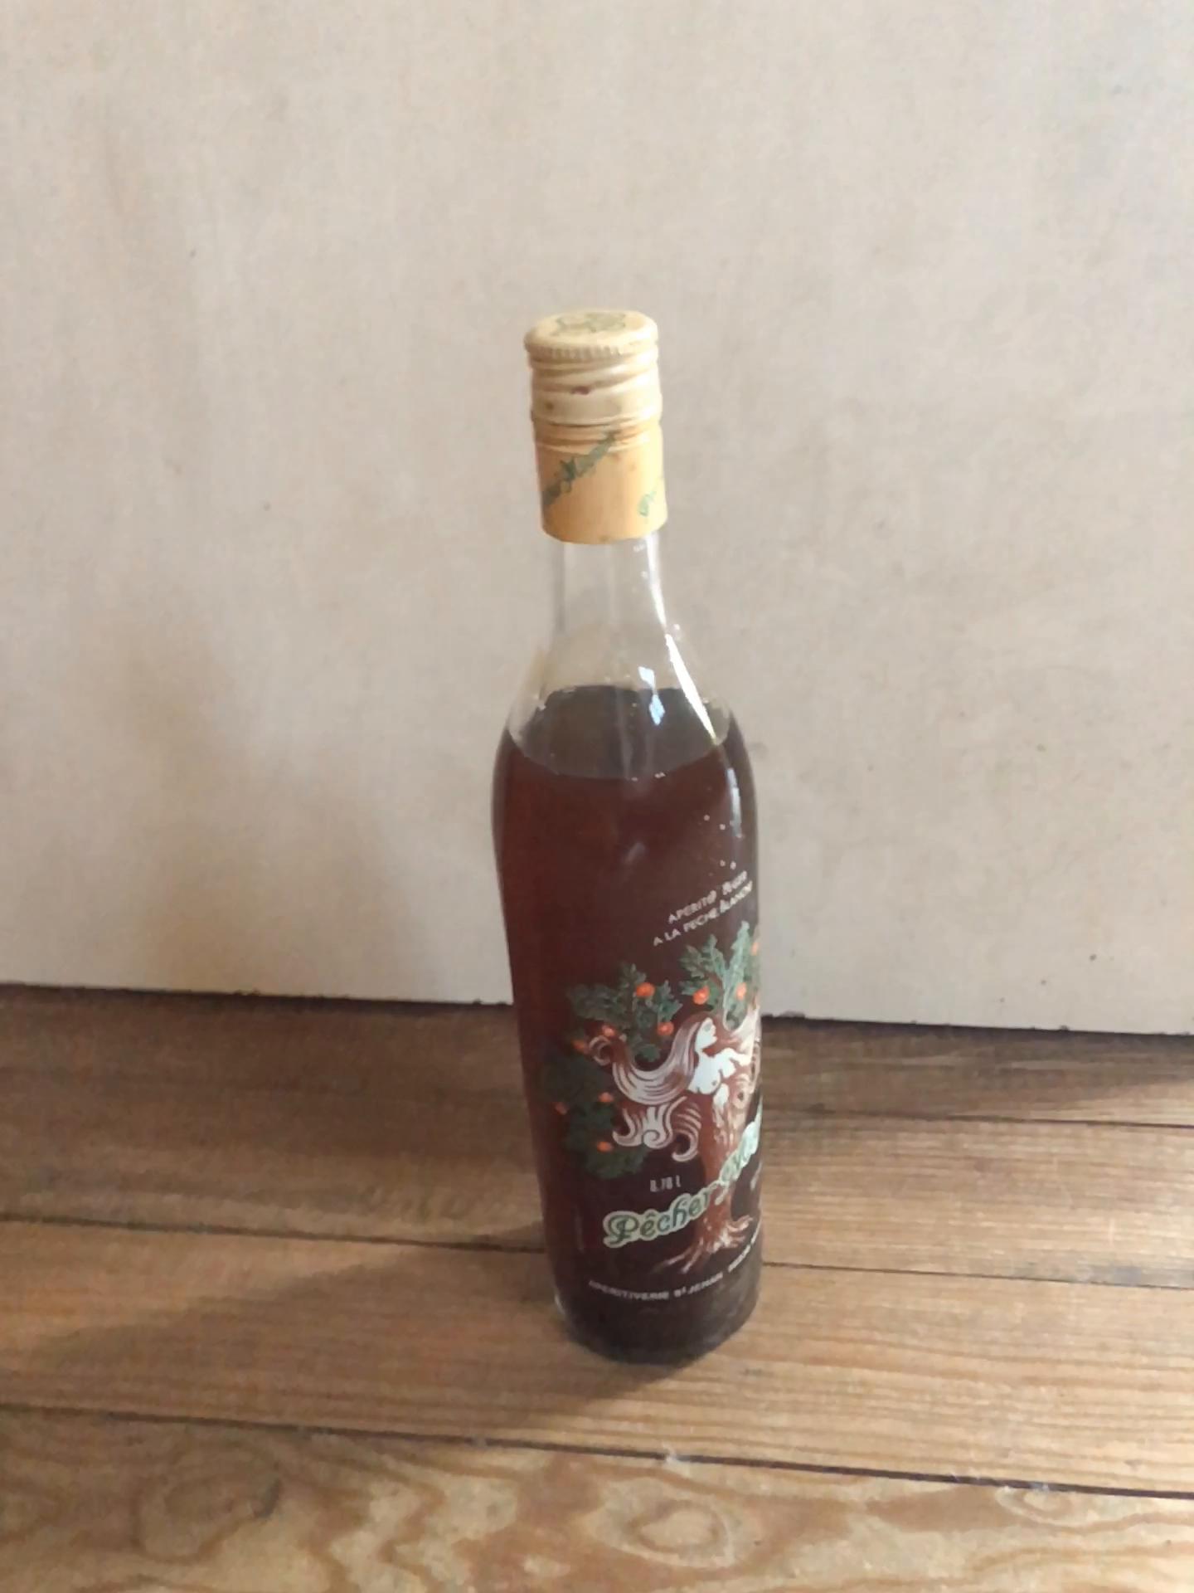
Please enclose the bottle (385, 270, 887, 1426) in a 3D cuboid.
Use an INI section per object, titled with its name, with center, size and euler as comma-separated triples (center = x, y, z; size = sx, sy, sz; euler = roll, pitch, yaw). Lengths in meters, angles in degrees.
[bottle]
center = 0.014, 0.034, 0.367
size = 0.080, 0.318, 0.070
euler = -23, 38, -28
